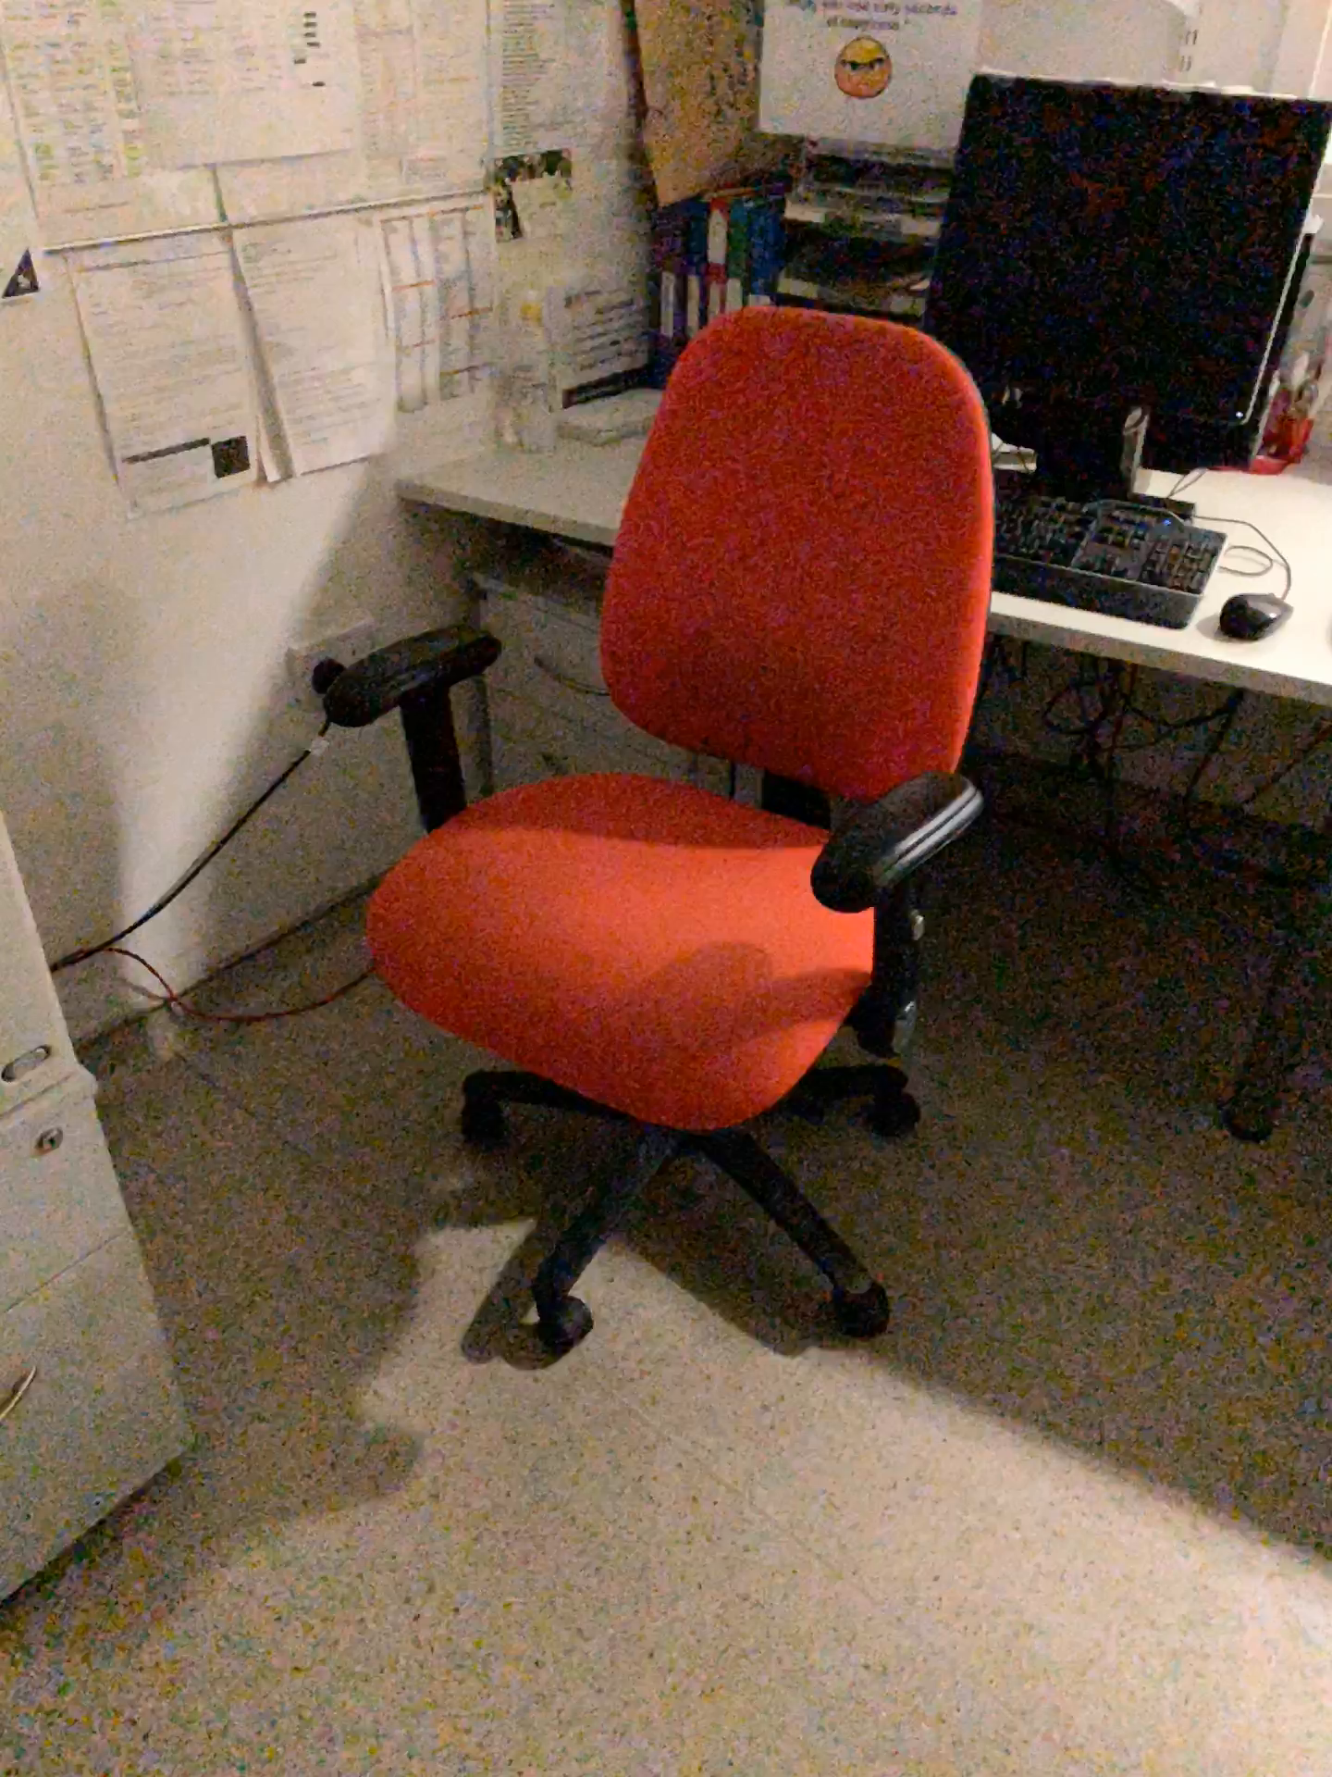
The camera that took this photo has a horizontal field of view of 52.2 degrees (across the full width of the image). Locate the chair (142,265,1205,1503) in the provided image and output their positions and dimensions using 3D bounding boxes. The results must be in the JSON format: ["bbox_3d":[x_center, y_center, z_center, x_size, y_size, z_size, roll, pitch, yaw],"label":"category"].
[{"bbox_3d":[0.045,-0.053,1.396,0.671,0.921,0.655,17,37,21],"label":"chair"}]
